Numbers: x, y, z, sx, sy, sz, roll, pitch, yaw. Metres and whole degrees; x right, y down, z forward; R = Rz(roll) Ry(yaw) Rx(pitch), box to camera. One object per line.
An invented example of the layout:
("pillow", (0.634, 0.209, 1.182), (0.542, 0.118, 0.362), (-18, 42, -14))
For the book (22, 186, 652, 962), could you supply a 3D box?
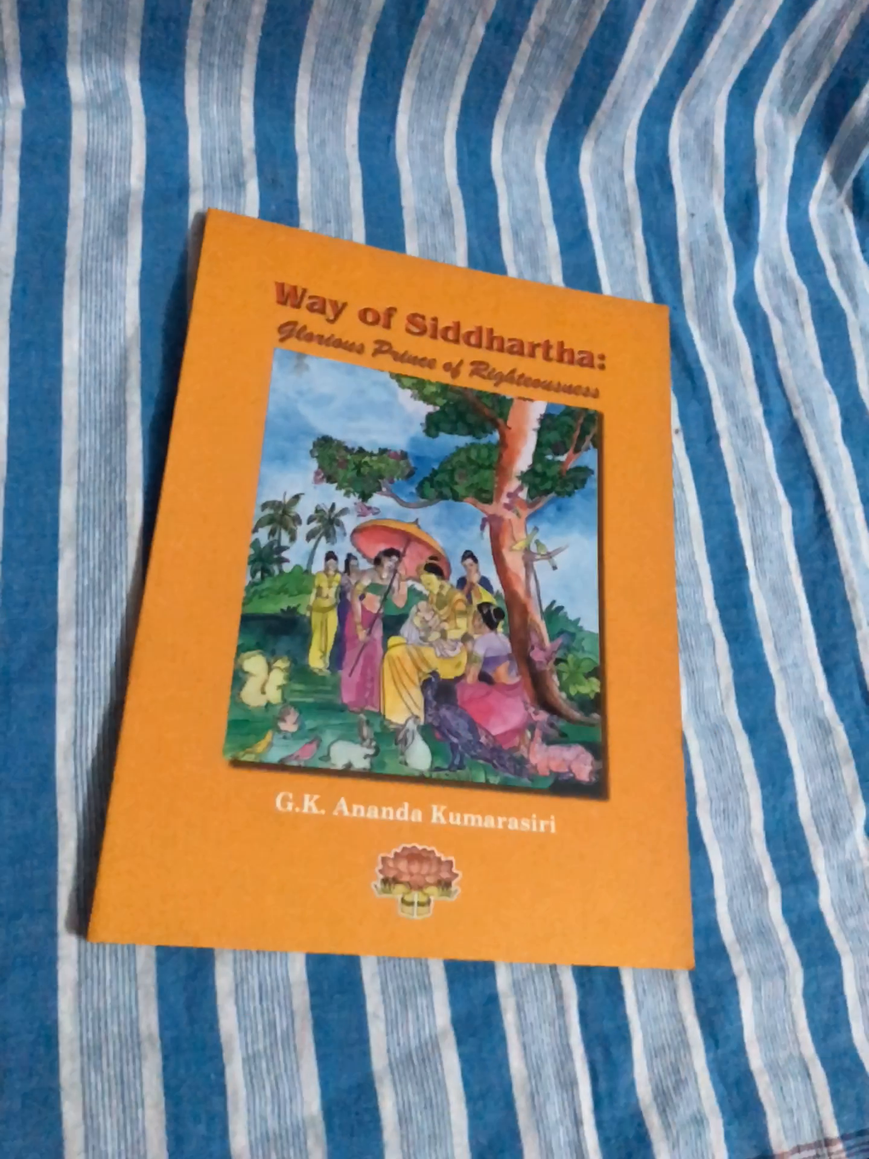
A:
("book", (-0.016, -0.007, 0.300), (0.170, 0.010, 0.230), (8, 69, -16))
